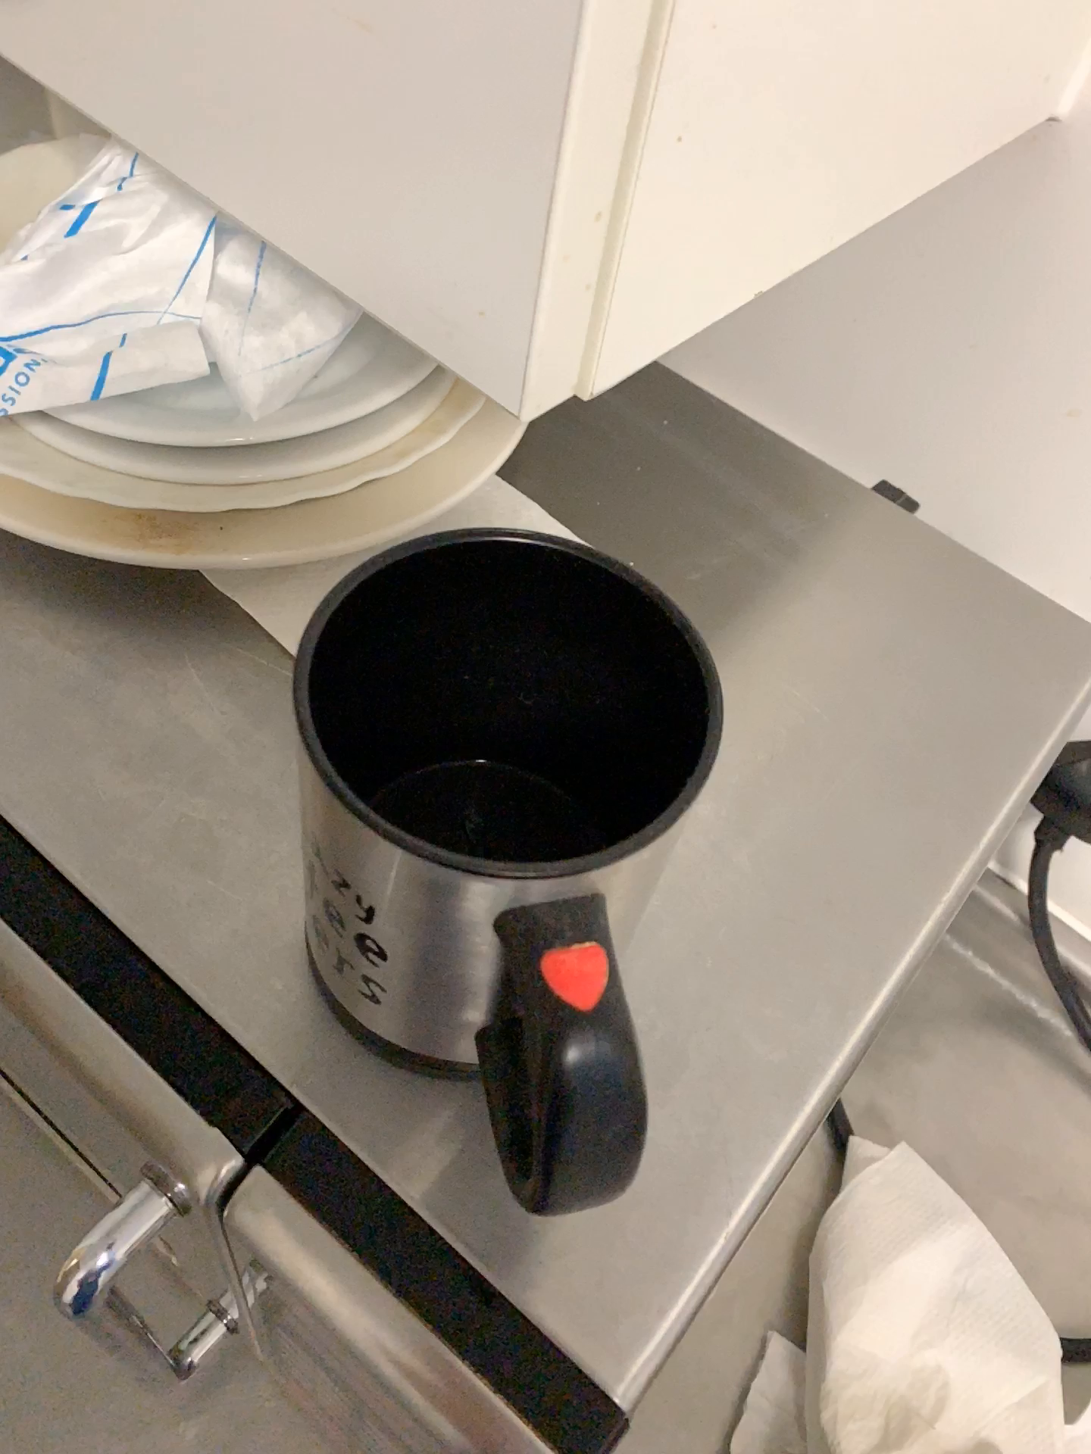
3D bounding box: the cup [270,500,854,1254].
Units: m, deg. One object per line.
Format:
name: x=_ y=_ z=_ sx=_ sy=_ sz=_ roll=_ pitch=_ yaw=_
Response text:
cup: x=-0.012 y=0.033 z=0.264 sx=0.096 sy=0.108 sz=0.134 roll=-2 pitch=53 yaw=-12
